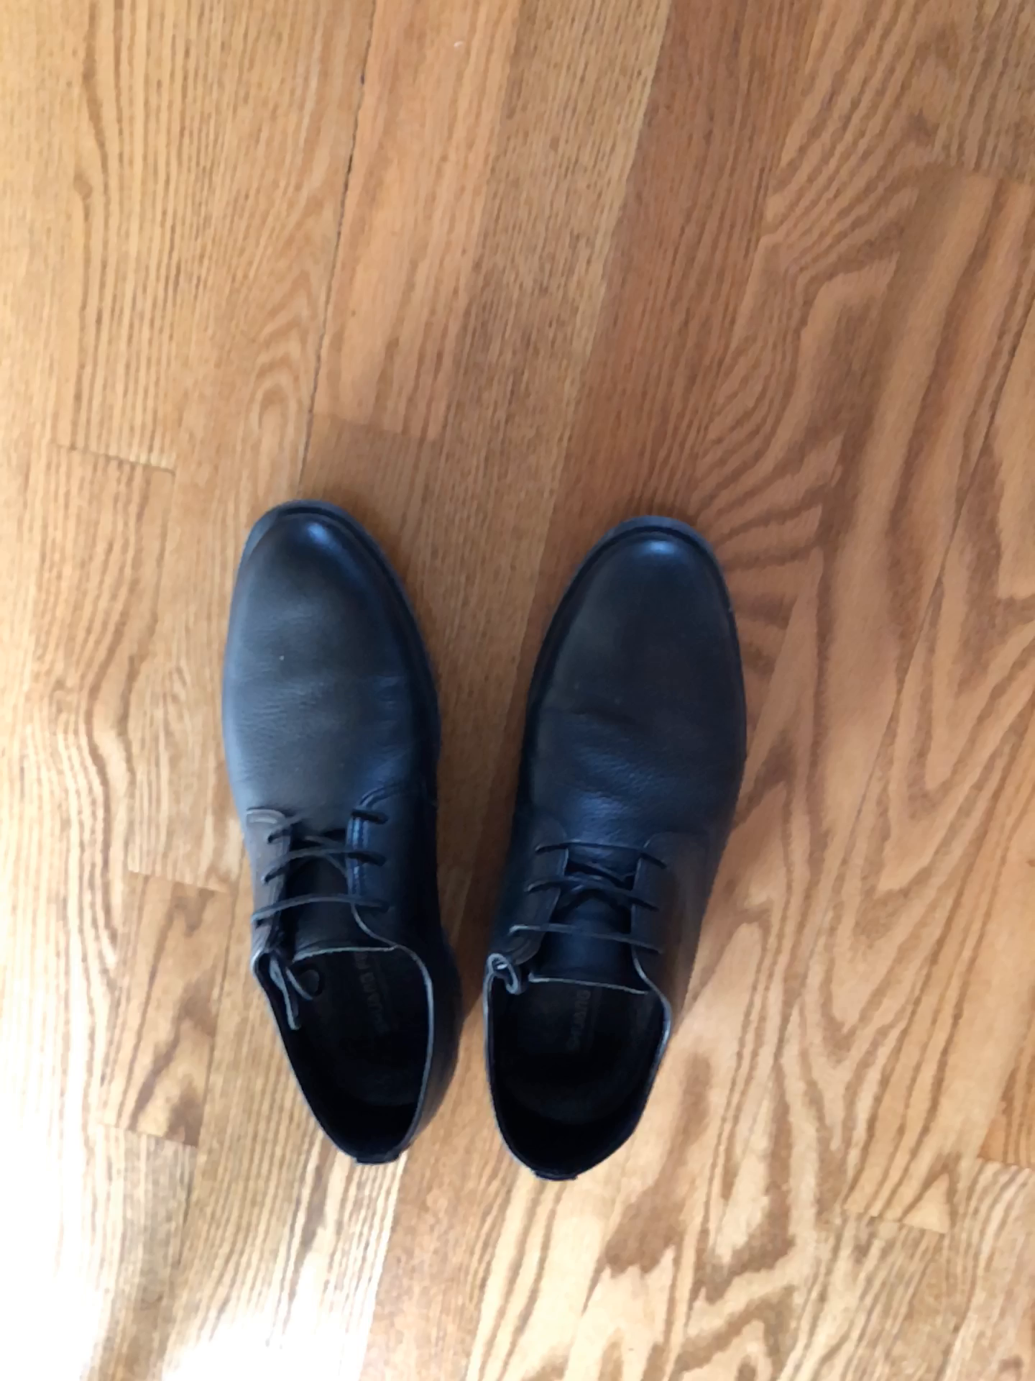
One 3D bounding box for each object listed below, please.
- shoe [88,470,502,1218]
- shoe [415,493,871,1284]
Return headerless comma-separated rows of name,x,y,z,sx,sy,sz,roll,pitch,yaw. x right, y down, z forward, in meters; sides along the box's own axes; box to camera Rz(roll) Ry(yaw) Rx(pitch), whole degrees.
shoe,-0.083,0.065,0.516,0.110,0.124,0.304,-5,106,6
shoe,0.044,0.080,0.498,0.110,0.124,0.299,12,107,1
